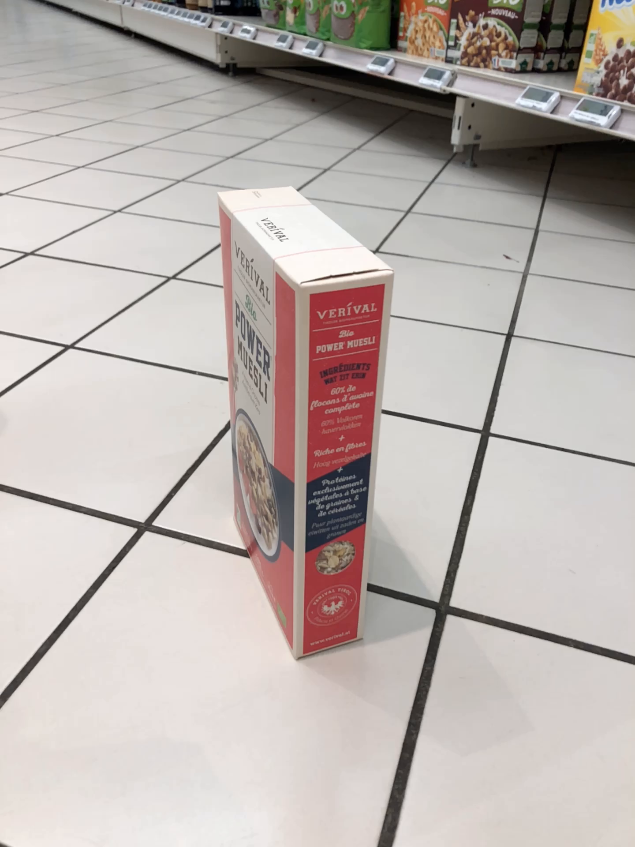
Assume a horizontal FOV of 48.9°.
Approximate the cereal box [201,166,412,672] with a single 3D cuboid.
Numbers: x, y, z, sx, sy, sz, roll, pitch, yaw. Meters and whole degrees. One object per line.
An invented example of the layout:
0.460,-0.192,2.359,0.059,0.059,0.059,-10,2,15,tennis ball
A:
-0.017,-0.005,0.366,0.050,0.219,0.141,-9,34,-18,cereal box
